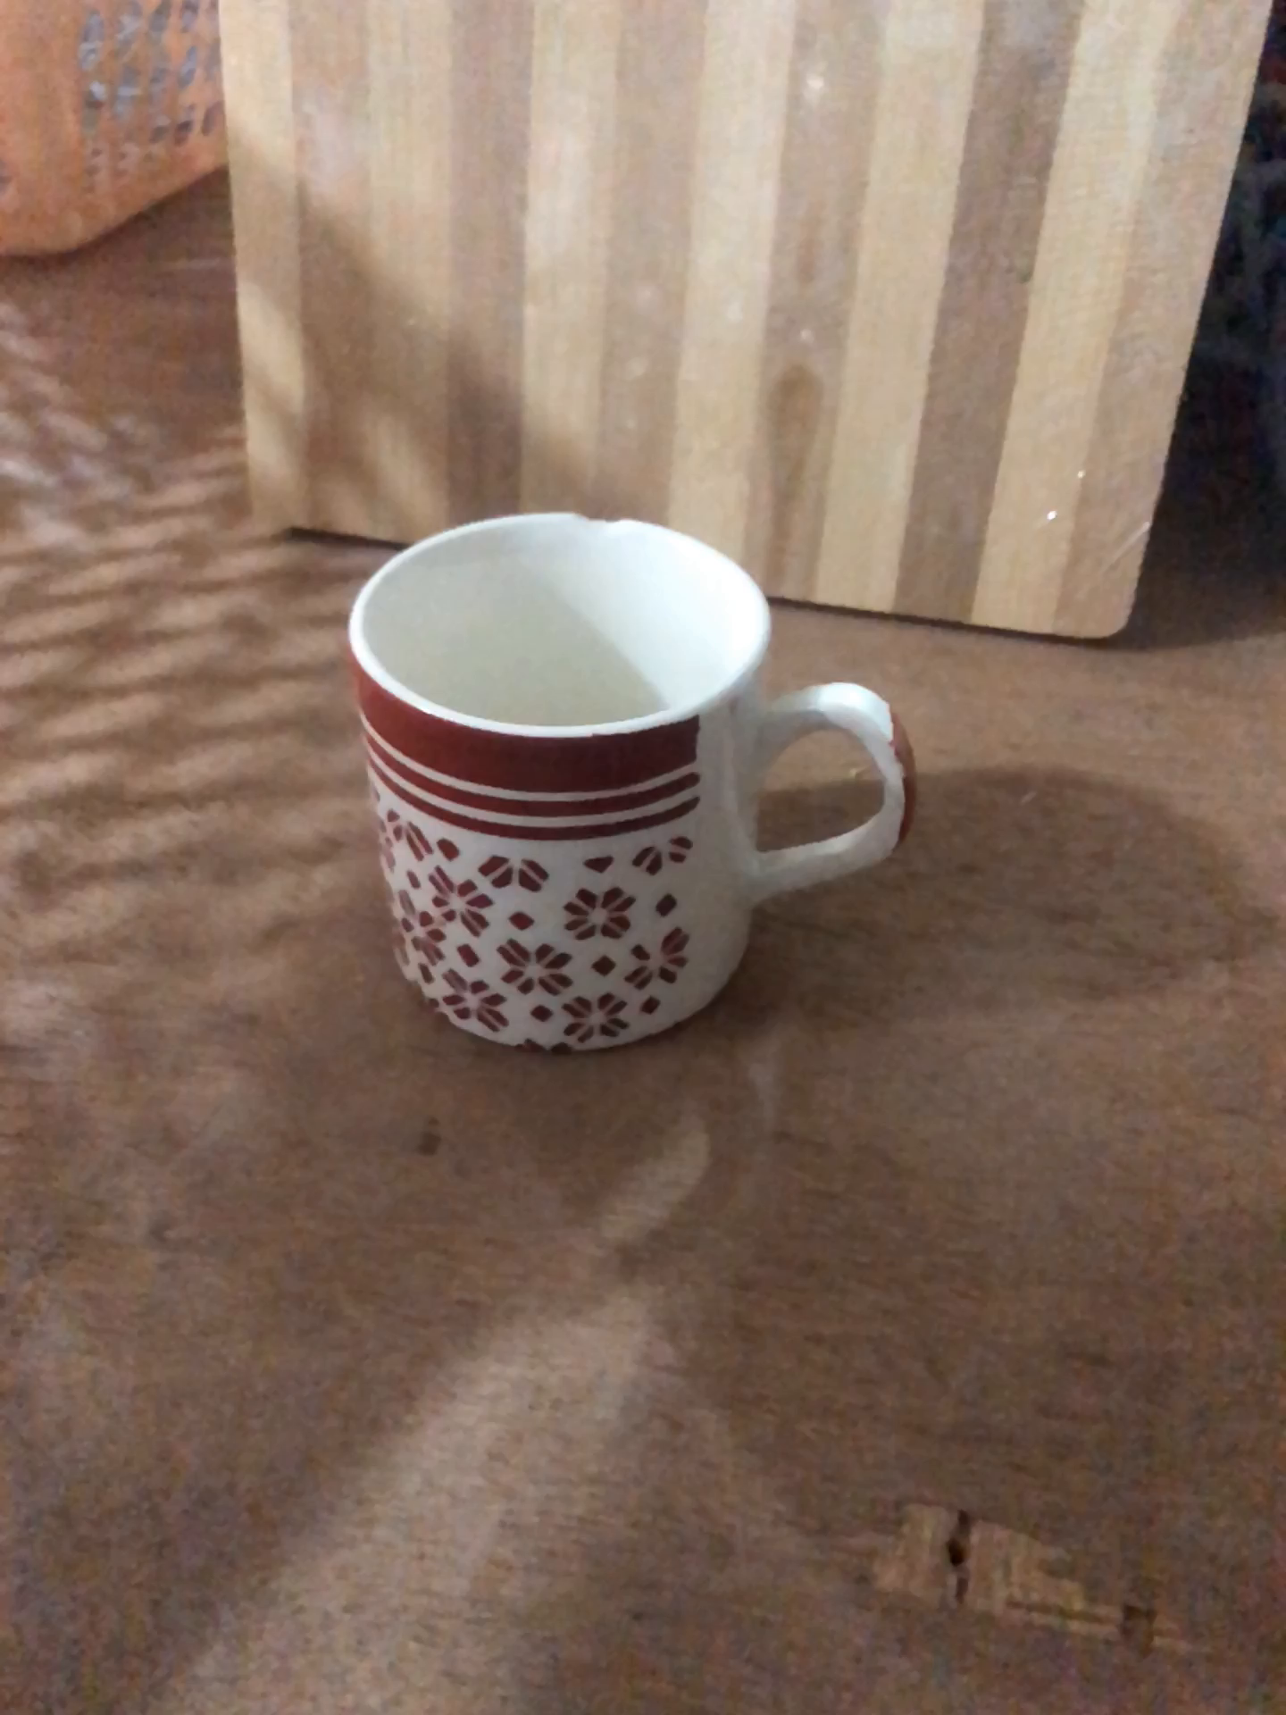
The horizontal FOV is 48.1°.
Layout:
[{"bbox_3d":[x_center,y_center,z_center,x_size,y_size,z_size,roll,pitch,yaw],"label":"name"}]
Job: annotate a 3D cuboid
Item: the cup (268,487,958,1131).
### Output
[{"bbox_3d":[-0.001,-0.008,0.235,0.090,0.080,0.060,4,41,5],"label":"cup"}]
